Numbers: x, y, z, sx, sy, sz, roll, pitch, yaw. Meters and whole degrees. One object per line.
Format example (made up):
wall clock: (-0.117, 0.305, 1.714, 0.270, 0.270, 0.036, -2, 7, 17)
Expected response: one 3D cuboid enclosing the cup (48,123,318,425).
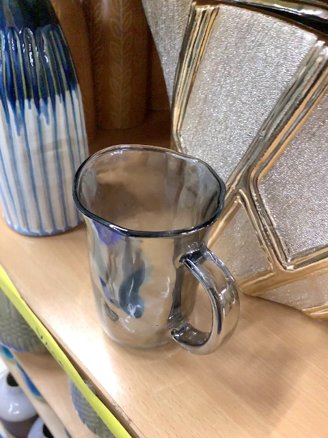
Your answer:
cup: (0.001, 0.026, 0.196, 0.070, 0.110, 0.110, -28, 50, -33)
